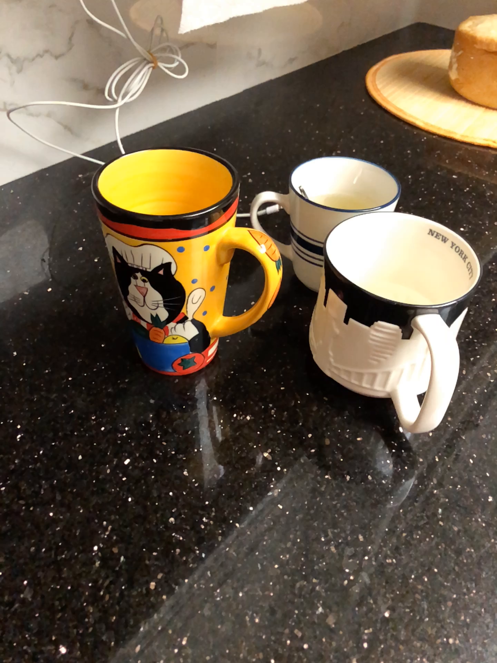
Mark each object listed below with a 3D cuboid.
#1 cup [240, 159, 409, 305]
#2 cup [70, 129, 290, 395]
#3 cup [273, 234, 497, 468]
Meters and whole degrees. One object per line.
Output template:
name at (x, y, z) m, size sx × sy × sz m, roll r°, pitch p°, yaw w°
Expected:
cup at (0.058, -0.083, 0.454) m, size 0.120 × 0.080 × 0.080 m, roll 4°, pitch 44°, yaw 1°
cup at (-0.041, -0.046, 0.364) m, size 0.100 × 0.129 × 0.080 m, roll 21°, pitch 47°, yaw 18°
cup at (0.086, 0.006, 0.375) m, size 0.120 × 0.070 × 0.151 m, roll -1°, pitch 44°, yaw -4°
